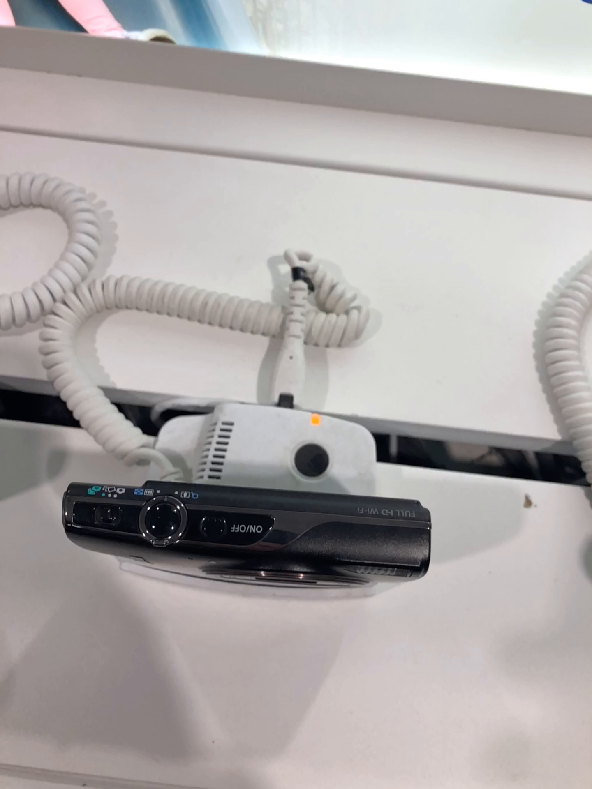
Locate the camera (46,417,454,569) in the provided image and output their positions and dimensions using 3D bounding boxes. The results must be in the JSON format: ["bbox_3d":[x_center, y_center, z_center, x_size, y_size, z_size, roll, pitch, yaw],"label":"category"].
[{"bbox_3d":[-0.013,0.034,0.214,0.113,0.057,0.026,5,68,0],"label":"camera"}]
